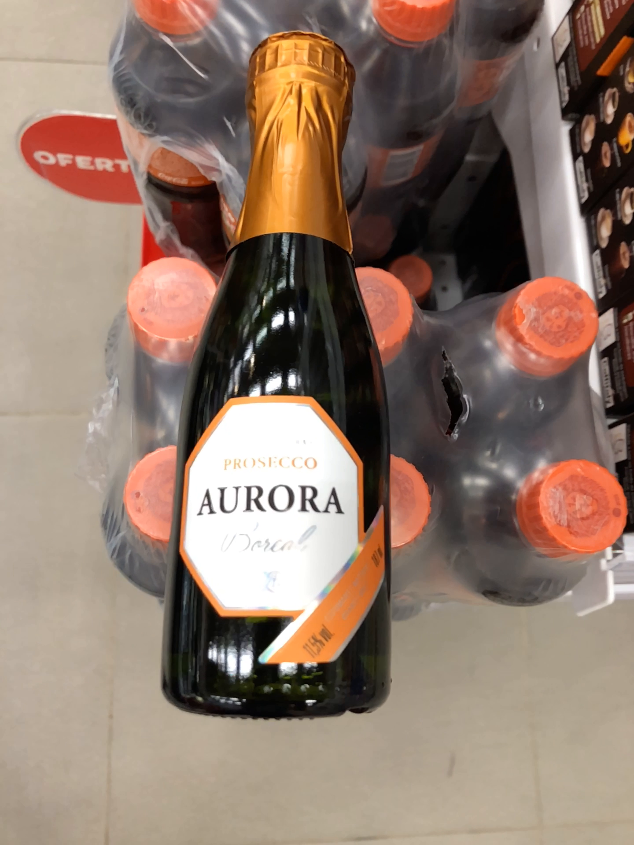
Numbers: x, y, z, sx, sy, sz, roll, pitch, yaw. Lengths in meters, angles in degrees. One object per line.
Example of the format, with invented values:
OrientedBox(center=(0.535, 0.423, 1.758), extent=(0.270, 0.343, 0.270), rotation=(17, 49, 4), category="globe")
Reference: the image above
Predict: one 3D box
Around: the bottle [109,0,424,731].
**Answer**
OrientedBox(center=(-0.009, -0.025, 0.178), extent=(0.060, 0.050, 0.180), rotation=(3, 79, -6), category="bottle")
